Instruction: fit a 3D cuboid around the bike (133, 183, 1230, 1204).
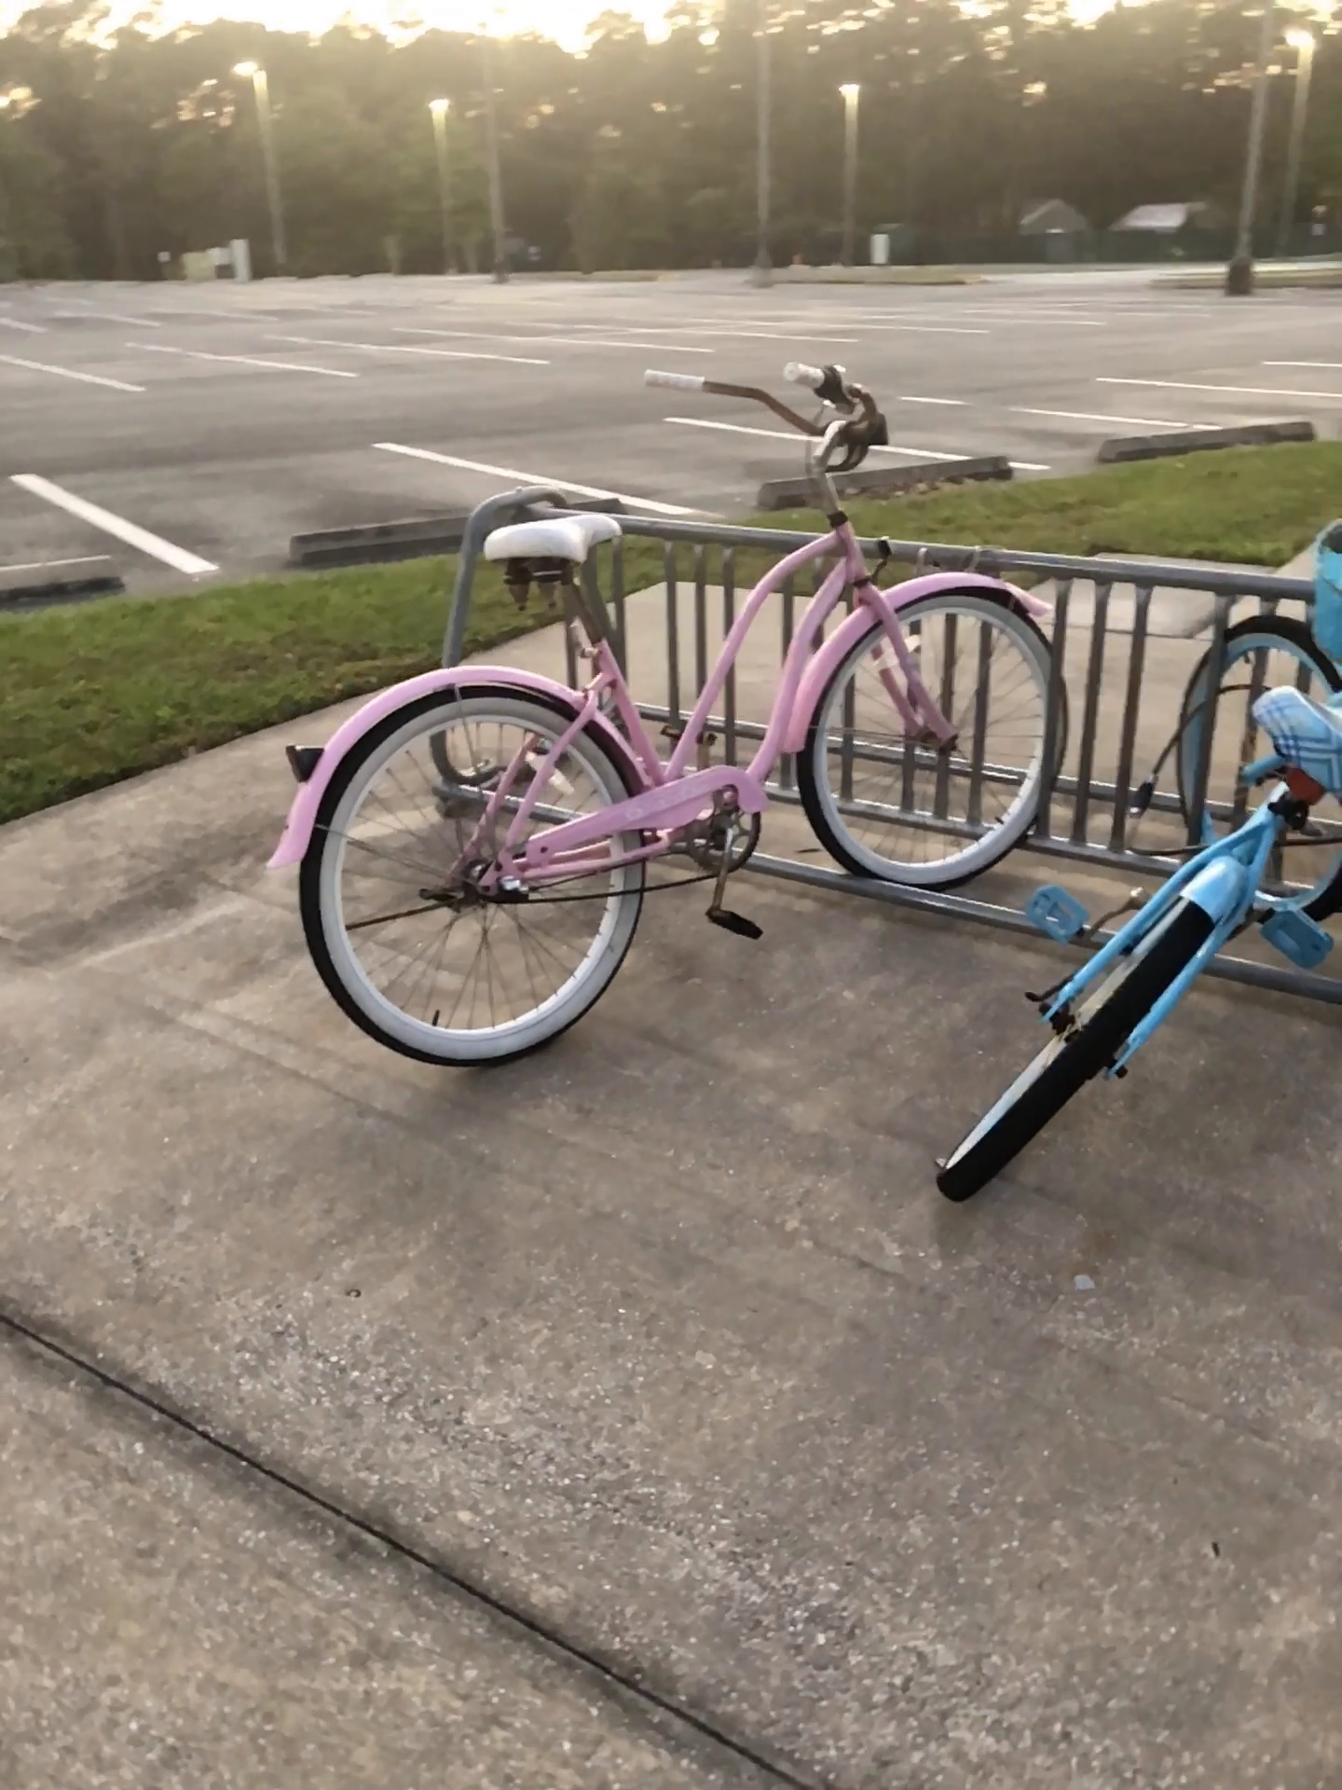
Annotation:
[{"bbox_3d":[0.052,-0.505,2.672,1.654,1.116,0.841,-23,31,-28],"label":"bike"}]
